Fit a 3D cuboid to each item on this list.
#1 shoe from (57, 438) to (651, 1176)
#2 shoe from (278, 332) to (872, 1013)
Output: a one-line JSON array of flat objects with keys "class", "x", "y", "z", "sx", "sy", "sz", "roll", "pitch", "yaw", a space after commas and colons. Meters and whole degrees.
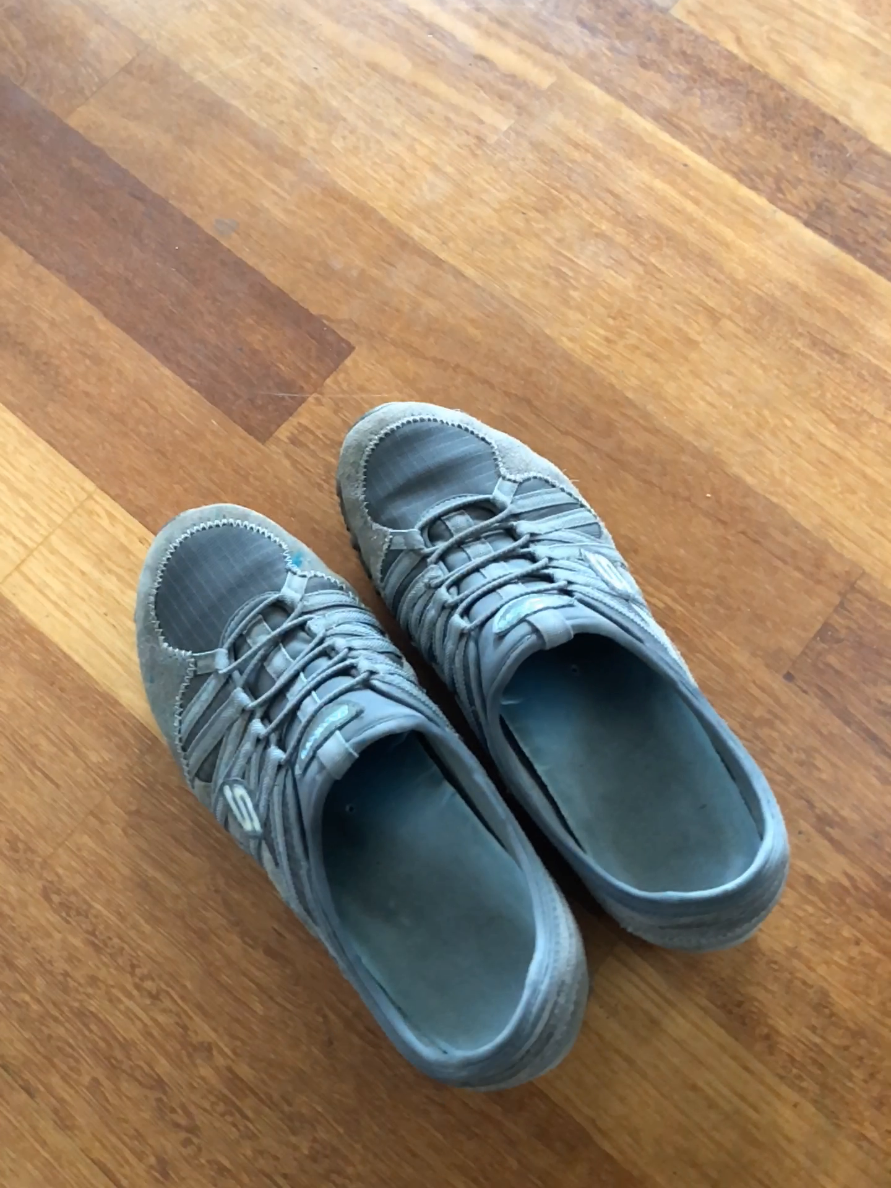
[{"class": "shoe", "x": -0.040, "y": 0.078, "z": 0.409, "sx": 0.096, "sy": 0.106, "sz": 0.253, "roll": -33, "pitch": 76, "yaw": -9}, {"class": "shoe", "x": 0.042, "y": 0.031, "z": 0.417, "sx": 0.093, "sy": 0.106, "sz": 0.250, "roll": -33, "pitch": 76, "yaw": -9}]
